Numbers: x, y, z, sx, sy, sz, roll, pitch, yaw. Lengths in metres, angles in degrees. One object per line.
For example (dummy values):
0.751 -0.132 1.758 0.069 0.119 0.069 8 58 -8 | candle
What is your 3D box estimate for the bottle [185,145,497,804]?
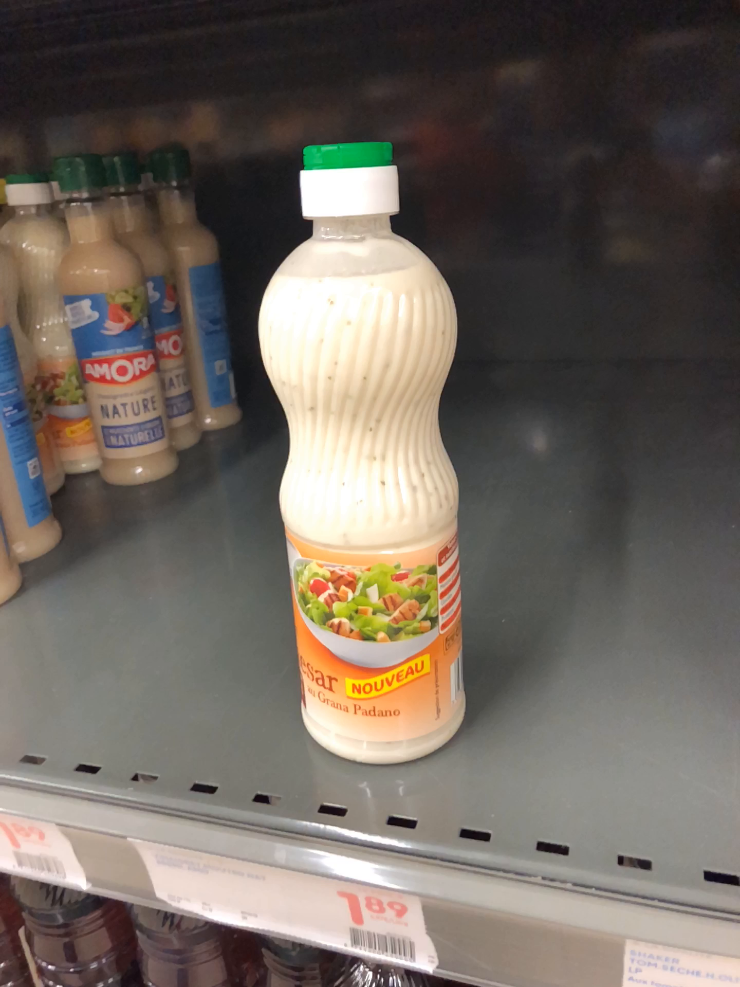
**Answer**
0.001 -0.006 0.315 0.080 0.229 0.080 -4 21 1 | bottle
